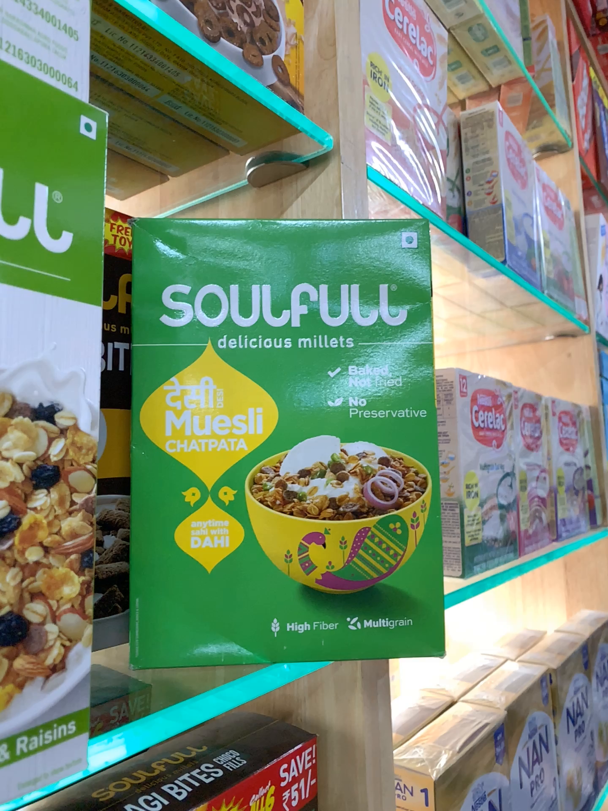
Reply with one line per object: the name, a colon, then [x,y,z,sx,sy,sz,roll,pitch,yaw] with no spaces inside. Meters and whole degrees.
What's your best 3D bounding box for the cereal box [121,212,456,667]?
cereal box: [-0.011,0.014,0.341,0.160,0.221,0.060,-1,-6,-5]
